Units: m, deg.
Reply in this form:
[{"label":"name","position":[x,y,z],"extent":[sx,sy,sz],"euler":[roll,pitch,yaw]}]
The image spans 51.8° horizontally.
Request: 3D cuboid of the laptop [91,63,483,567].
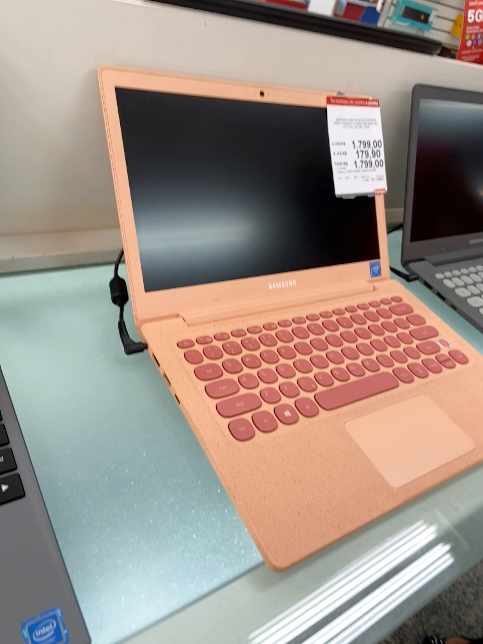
[{"label":"laptop","position":[0.088,-0.062,0.440],"extent":[0.330,0.160,0.359],"euler":[-11,47,-32]}]
